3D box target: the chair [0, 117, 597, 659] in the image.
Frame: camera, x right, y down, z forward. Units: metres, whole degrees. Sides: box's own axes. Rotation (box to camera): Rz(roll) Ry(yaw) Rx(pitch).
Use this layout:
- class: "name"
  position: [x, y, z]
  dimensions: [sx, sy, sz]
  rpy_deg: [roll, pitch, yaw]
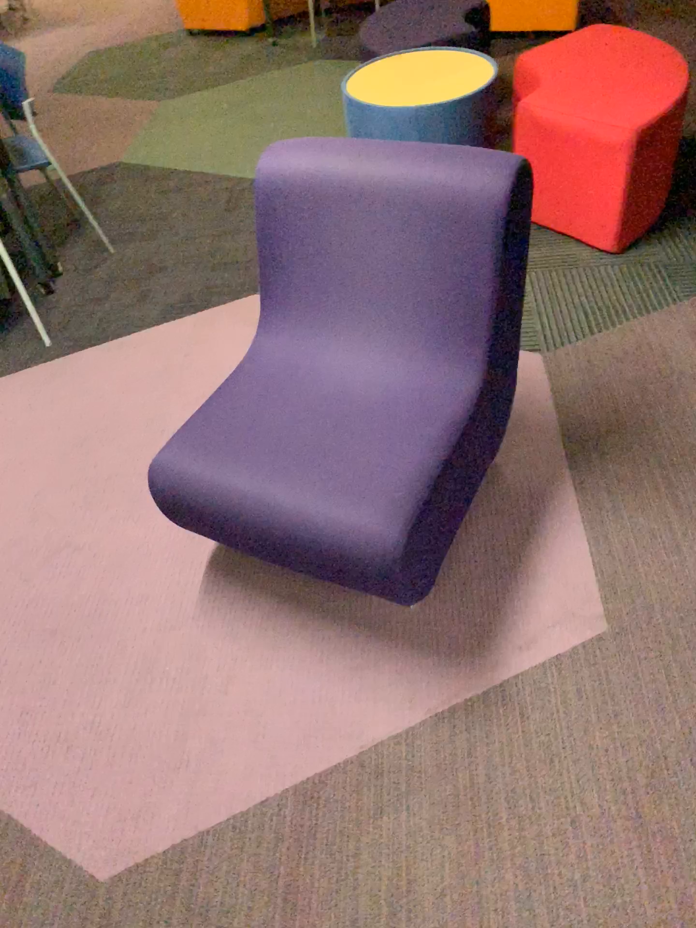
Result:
- class: "chair"
  position: [-0.021, -0.234, 1.474]
  dimensions: [0.802, 0.614, 0.825]
  rpy_deg: [14, 49, 23]
